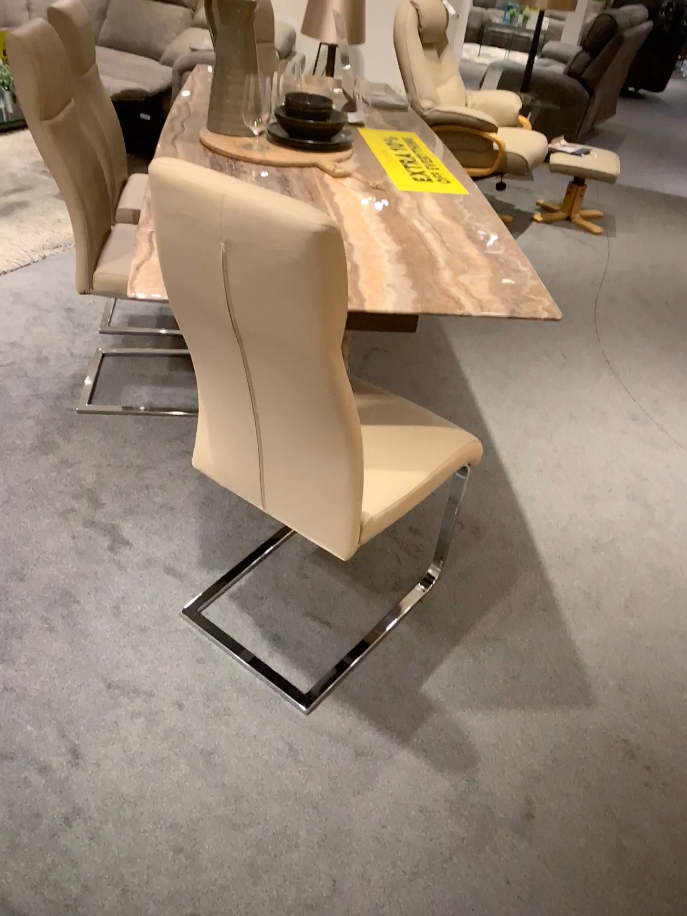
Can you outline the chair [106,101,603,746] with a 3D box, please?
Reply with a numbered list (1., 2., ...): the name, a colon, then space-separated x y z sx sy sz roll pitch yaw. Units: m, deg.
1. chair: -0.006 -0.079 1.365 0.529 0.981 0.586 28 41 26
